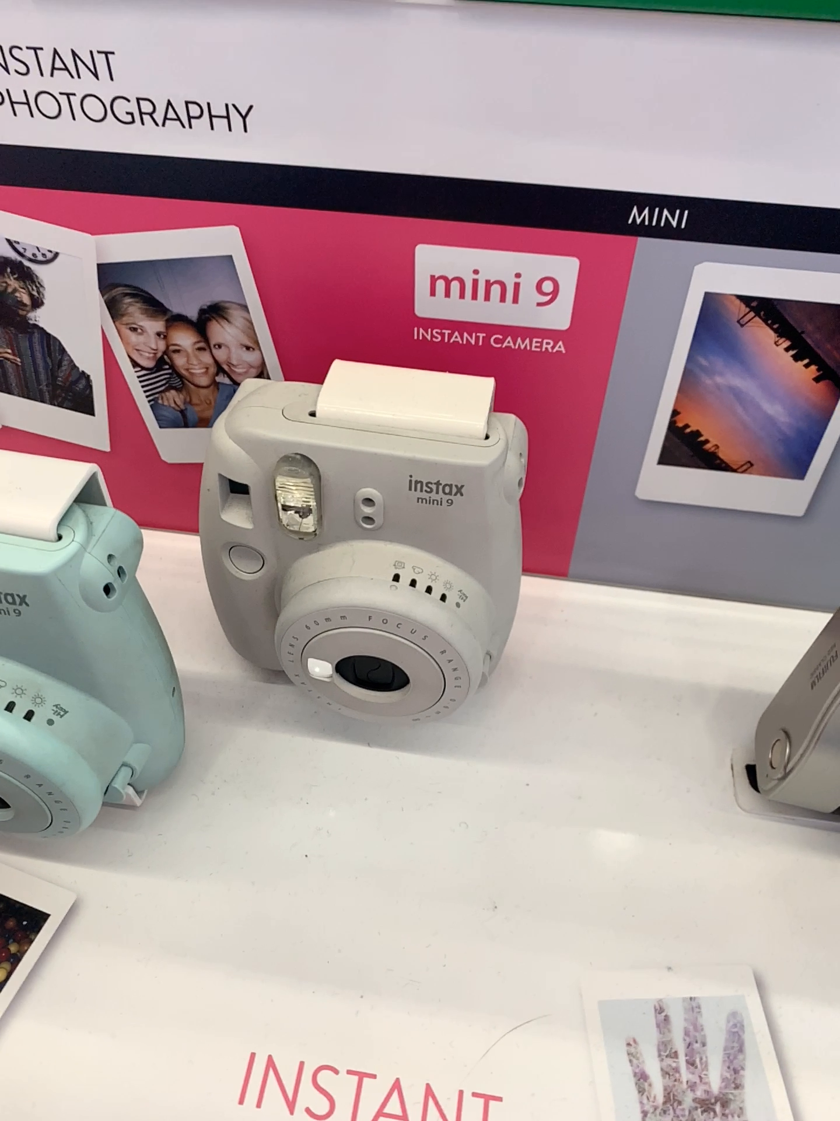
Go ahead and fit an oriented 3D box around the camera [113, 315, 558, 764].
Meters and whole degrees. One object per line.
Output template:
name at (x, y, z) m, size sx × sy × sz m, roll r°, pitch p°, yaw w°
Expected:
camera at (-0.020, -0.005, 0.287) m, size 0.110 × 0.109 × 0.081 m, roll 8°, pitch 47°, yaw 6°
